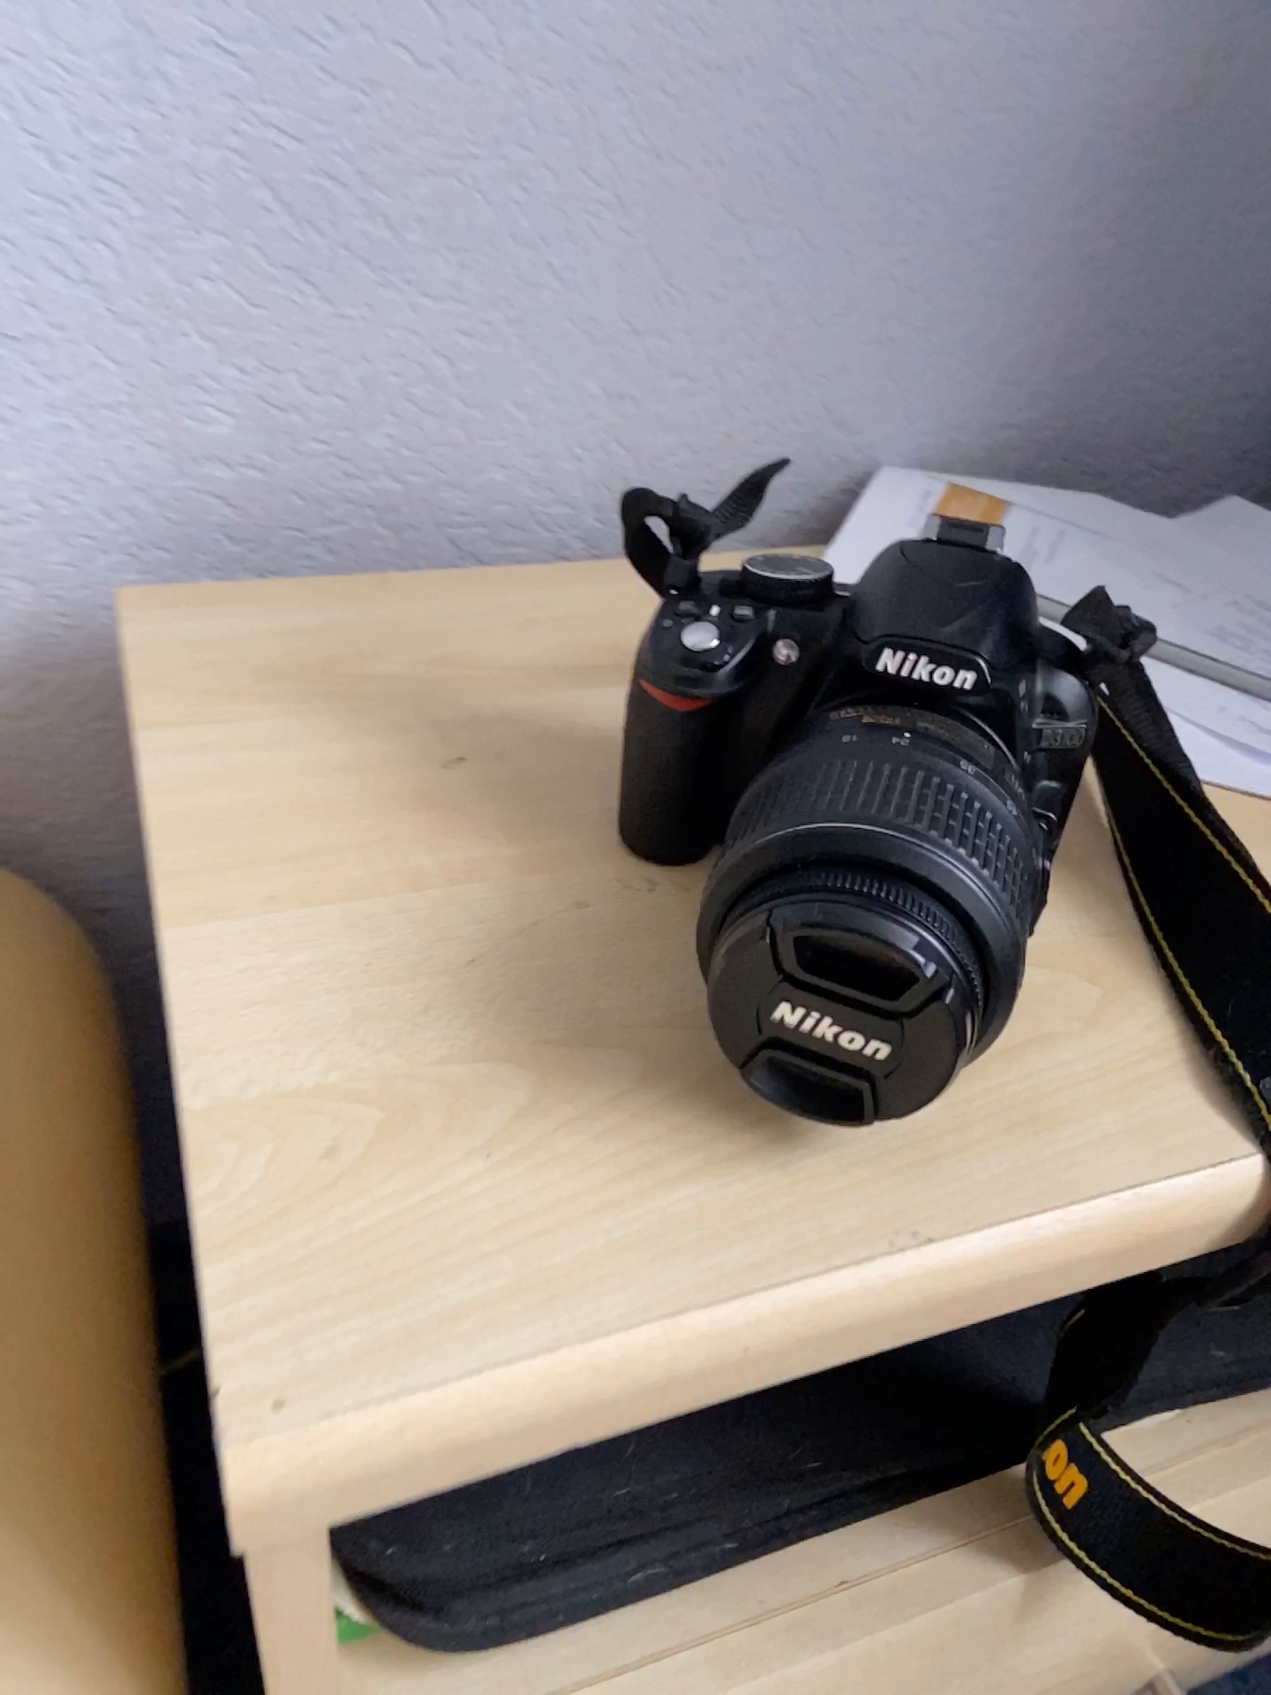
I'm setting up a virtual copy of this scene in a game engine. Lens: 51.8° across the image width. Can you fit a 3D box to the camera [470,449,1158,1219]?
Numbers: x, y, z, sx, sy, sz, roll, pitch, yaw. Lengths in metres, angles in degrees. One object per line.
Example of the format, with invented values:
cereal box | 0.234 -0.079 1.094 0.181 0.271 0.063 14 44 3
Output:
camera | 0.046 -0.017 0.309 0.118 0.091 0.153 13 35 11
